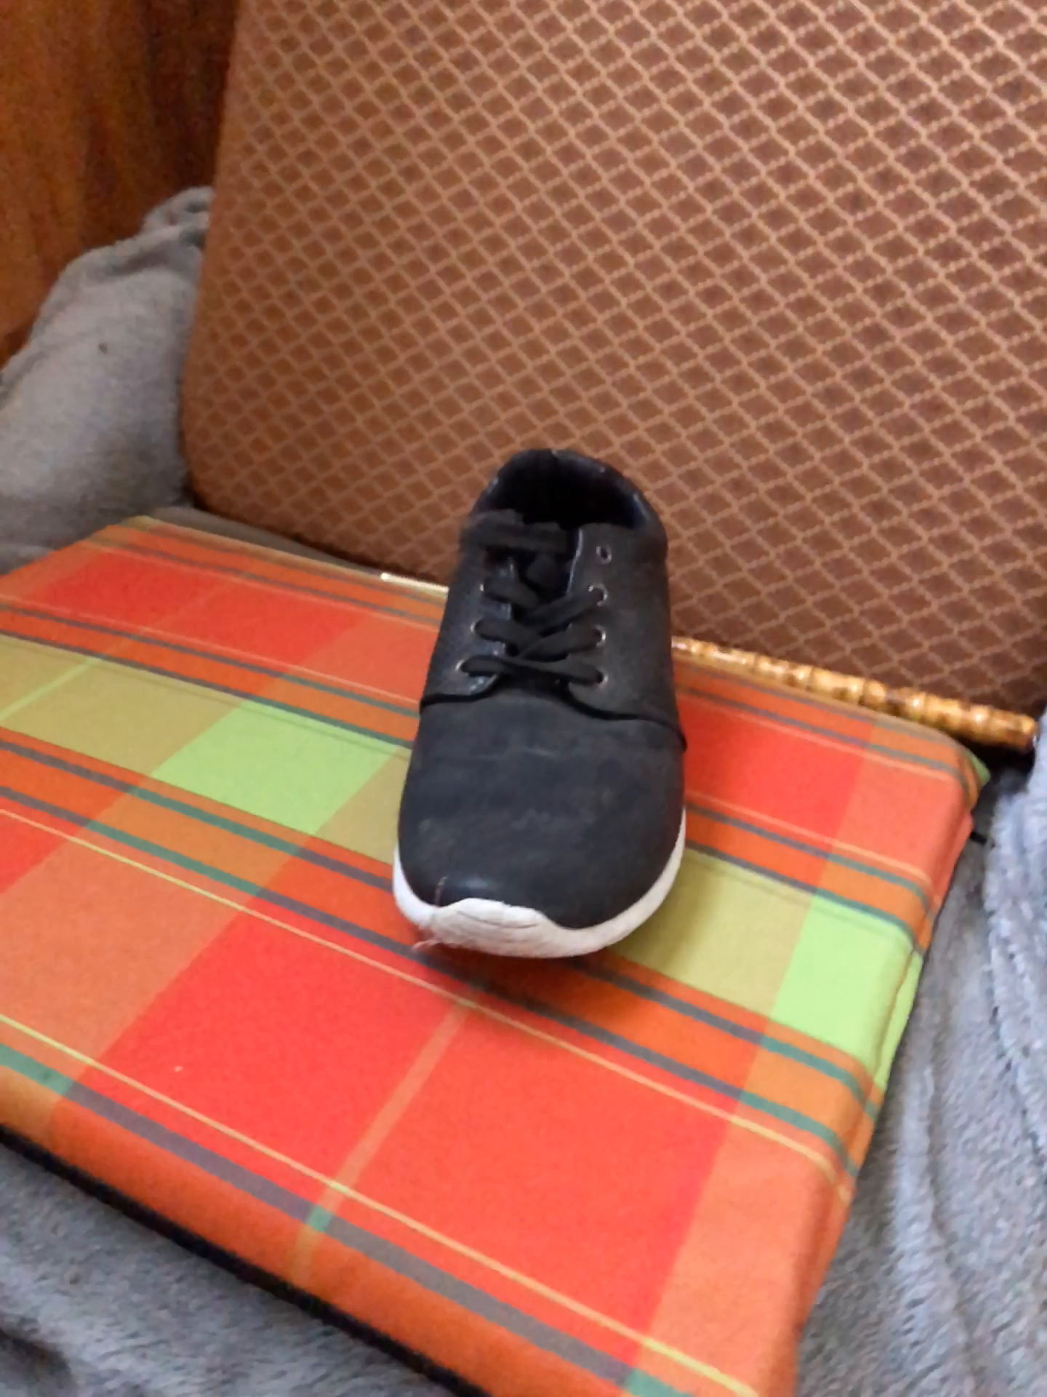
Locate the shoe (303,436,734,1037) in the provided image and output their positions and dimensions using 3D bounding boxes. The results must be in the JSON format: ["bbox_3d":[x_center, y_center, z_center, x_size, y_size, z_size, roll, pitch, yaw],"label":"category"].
[{"bbox_3d":[0.012,-0.011,0.428,0.110,0.080,0.268,3,33,5],"label":"shoe"}]
